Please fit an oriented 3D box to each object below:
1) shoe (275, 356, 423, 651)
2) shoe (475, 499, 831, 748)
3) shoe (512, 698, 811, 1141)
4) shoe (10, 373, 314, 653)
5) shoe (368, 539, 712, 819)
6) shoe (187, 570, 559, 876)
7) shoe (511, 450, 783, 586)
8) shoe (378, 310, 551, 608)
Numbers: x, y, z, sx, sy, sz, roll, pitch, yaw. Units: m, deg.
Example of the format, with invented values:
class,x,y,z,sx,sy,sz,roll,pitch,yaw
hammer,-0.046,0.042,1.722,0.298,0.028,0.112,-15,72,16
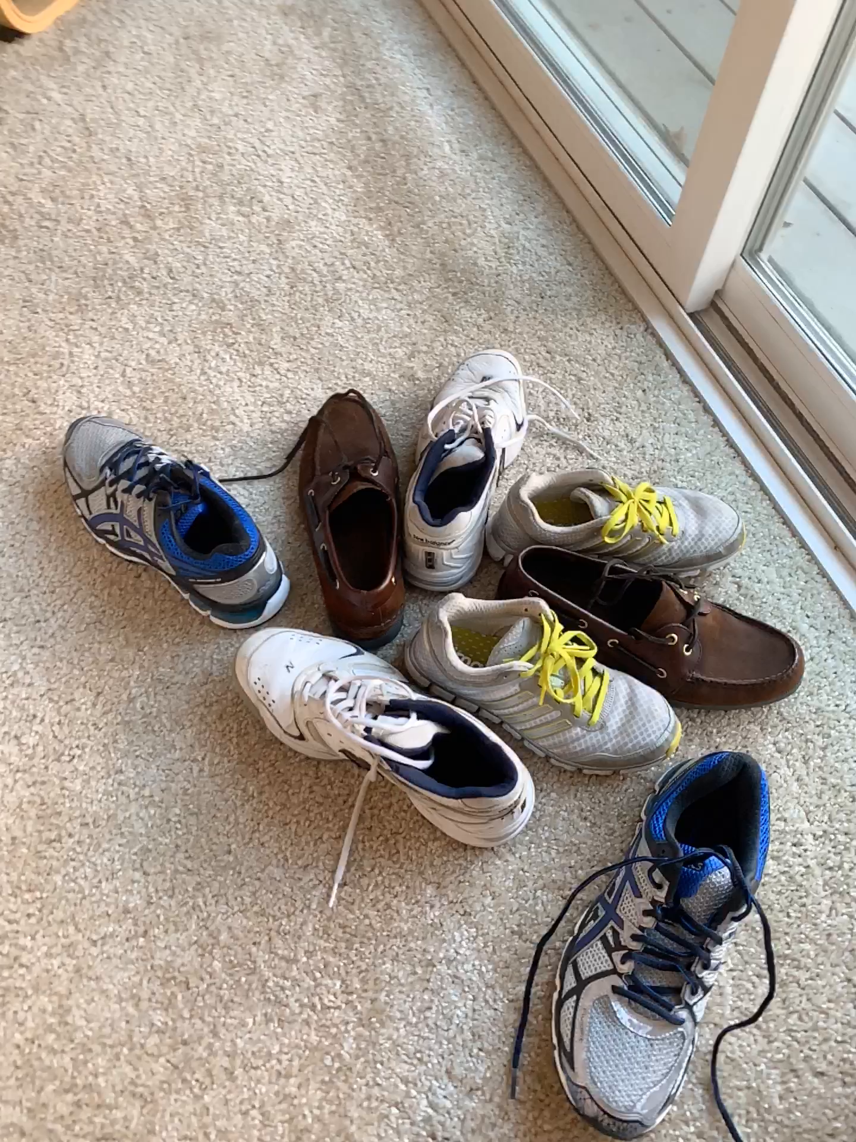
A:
class,x,y,z,sx,sy,sz,roll,pitch,yaw
shoe,-0.082,-0.073,0.877,0.100,0.110,0.271,-9,59,-7
shoe,0.194,0.045,0.781,0.280,0.080,0.100,22,61,9
shoe,0.177,0.261,0.659,0.110,0.110,0.291,24,63,12
shoe,-0.248,-0.059,0.823,0.271,0.090,0.110,36,65,19
shoe,0.082,0.085,0.696,0.240,0.090,0.100,25,62,11
shoe,-0.046,0.123,0.715,0.280,0.110,0.090,27,62,15
shoe,0.197,-0.049,0.817,0.230,0.060,0.100,3,59,-2
shoe,0.039,-0.116,0.866,0.100,0.110,0.271,14,59,6
